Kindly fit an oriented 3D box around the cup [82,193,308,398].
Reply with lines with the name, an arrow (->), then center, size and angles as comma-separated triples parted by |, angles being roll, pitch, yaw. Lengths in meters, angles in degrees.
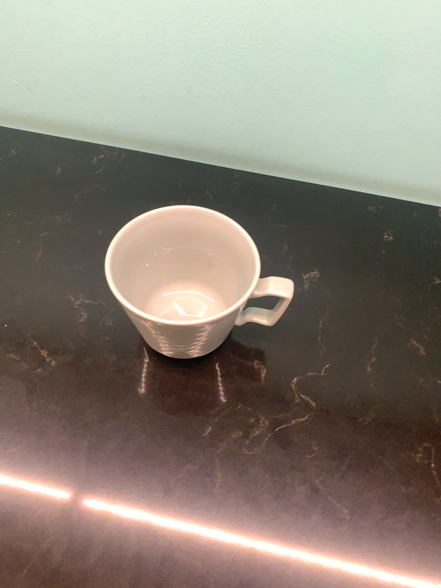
cup -> -0.013, 0.001, 0.335 | 0.130, 0.080, 0.100 | 12, 57, 5
